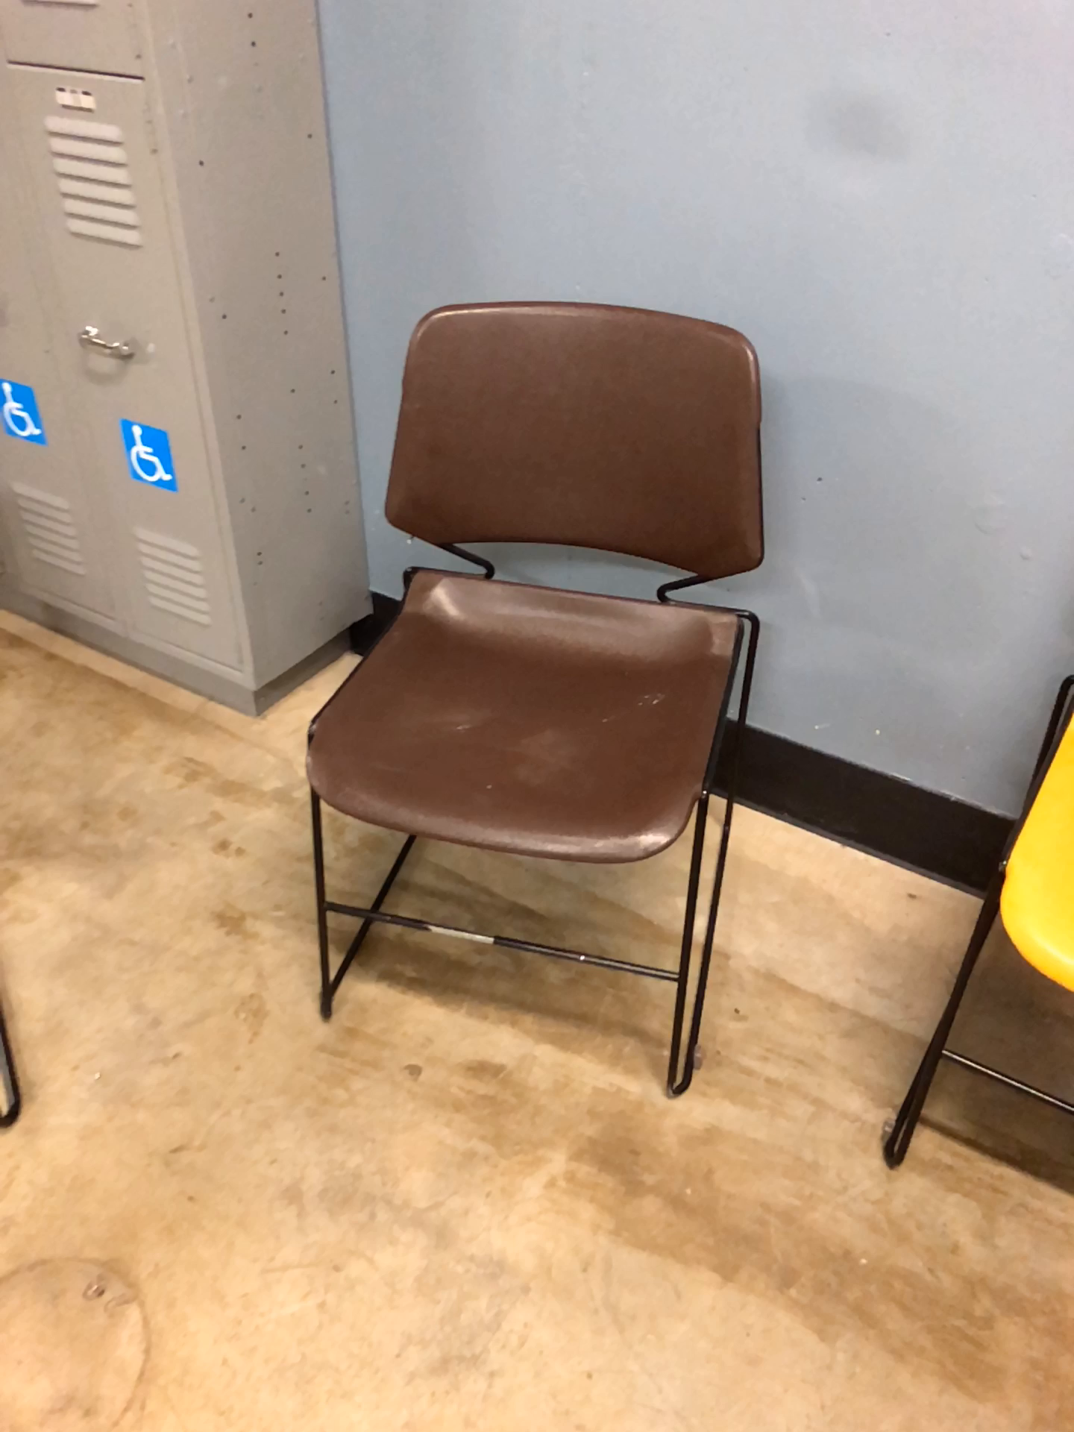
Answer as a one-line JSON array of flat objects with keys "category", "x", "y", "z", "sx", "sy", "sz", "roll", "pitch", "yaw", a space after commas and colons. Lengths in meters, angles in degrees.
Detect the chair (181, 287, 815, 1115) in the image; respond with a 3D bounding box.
[{"category": "chair", "x": 0.002, "y": -0.034, "z": 1.423, "sx": 0.516, "sy": 0.750, "sz": 0.548, "roll": 9, "pitch": 37, "yaw": 11}]
